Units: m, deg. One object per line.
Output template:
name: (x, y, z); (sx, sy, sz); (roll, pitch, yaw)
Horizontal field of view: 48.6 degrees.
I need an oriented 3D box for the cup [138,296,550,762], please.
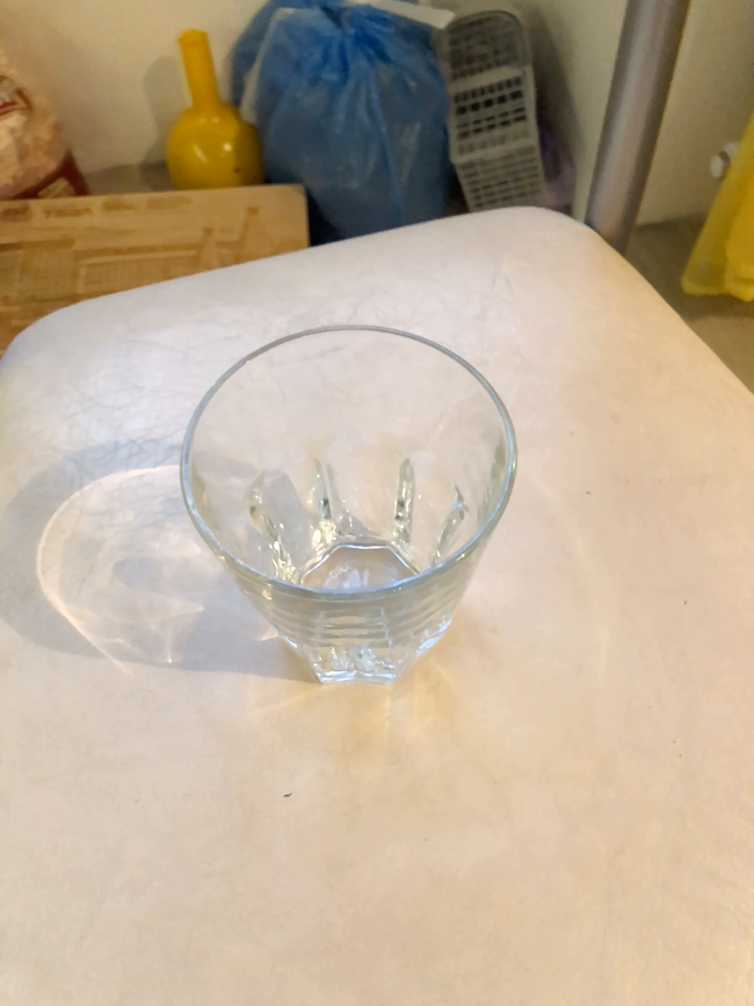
cup: (-0.010, 0.012, 0.247); (0.080, 0.100, 0.080); (0, 59, 1)
